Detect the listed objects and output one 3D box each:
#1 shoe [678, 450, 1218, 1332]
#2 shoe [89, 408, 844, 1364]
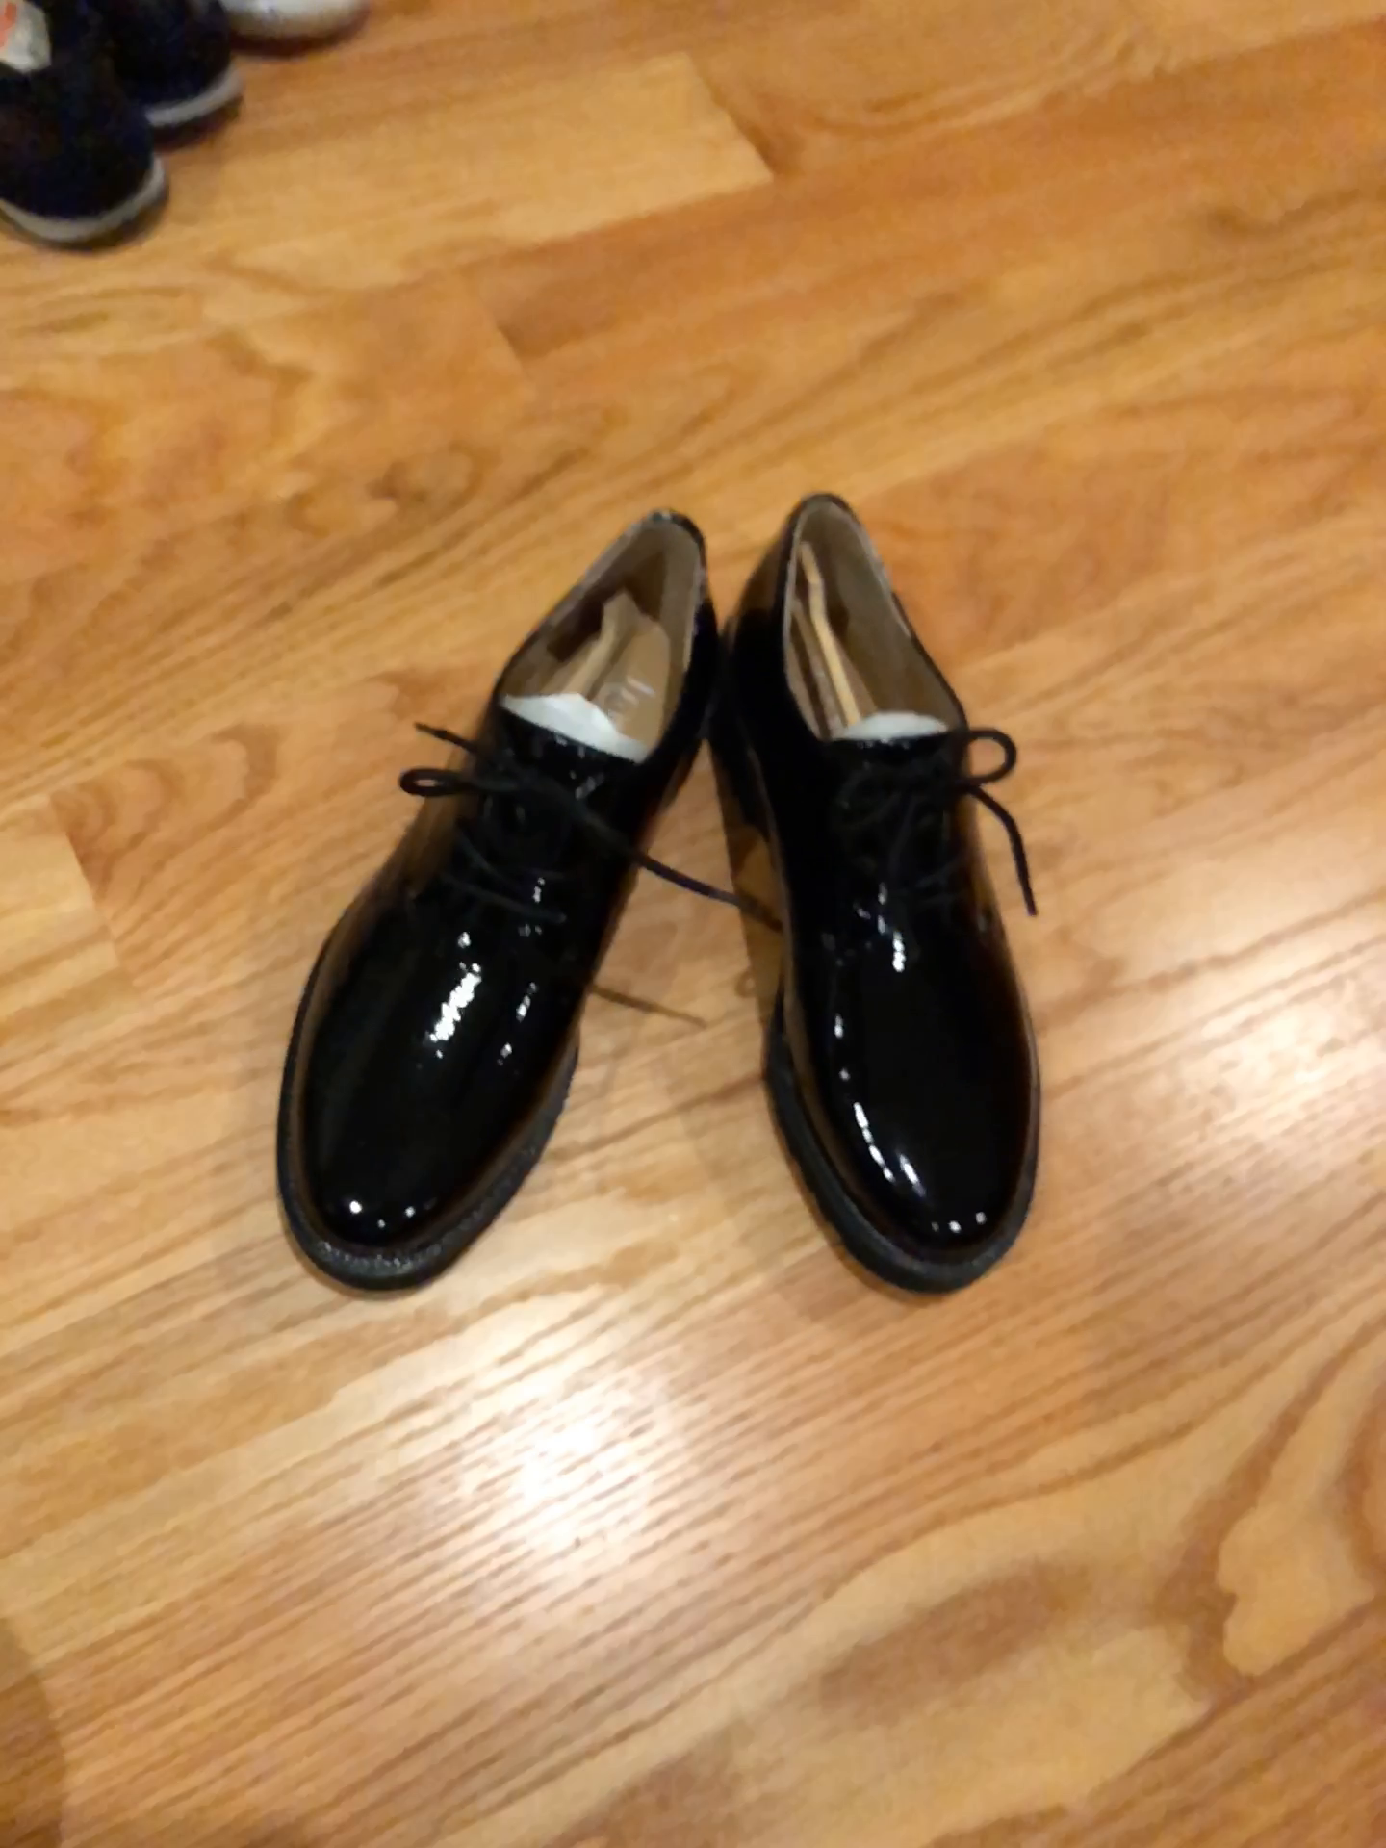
[{"bbox_3d":[0.065,-0.014,0.481,0.095,0.102,0.252,-4,67,-11],"label":"shoe"},{"bbox_3d":[-0.055,-0.014,0.458,0.095,0.102,0.252,25,65,2],"label":"shoe"}]
